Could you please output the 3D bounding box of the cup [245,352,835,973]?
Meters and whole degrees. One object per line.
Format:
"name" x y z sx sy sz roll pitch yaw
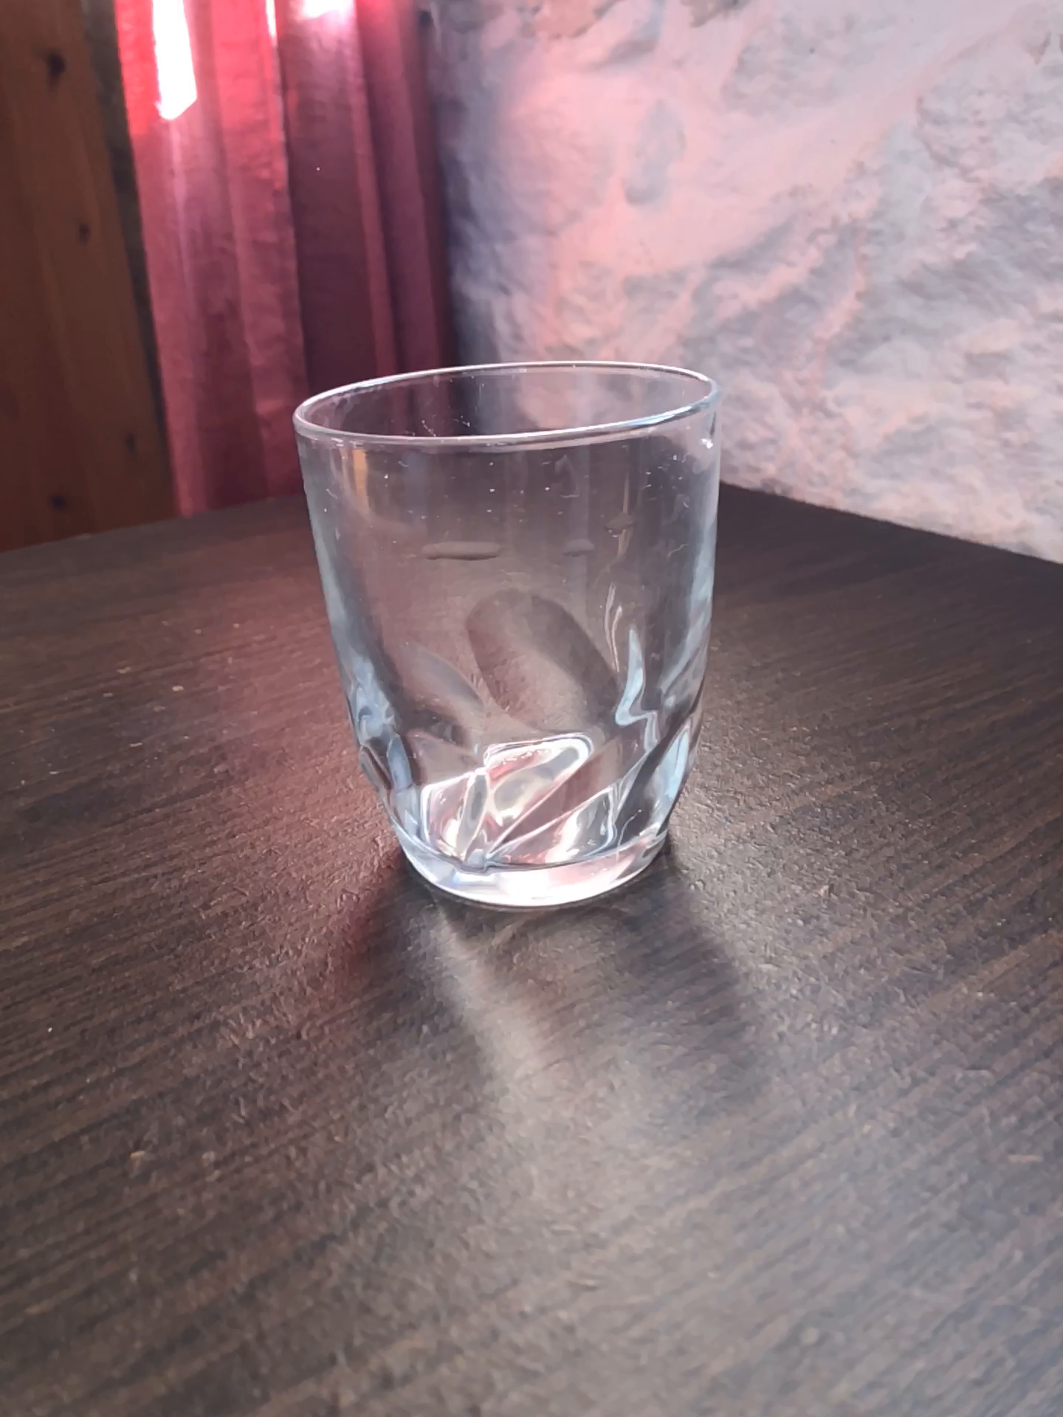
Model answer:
"cup" 0.000 -0.017 0.227 0.075 0.085 0.078 -2 24 1
